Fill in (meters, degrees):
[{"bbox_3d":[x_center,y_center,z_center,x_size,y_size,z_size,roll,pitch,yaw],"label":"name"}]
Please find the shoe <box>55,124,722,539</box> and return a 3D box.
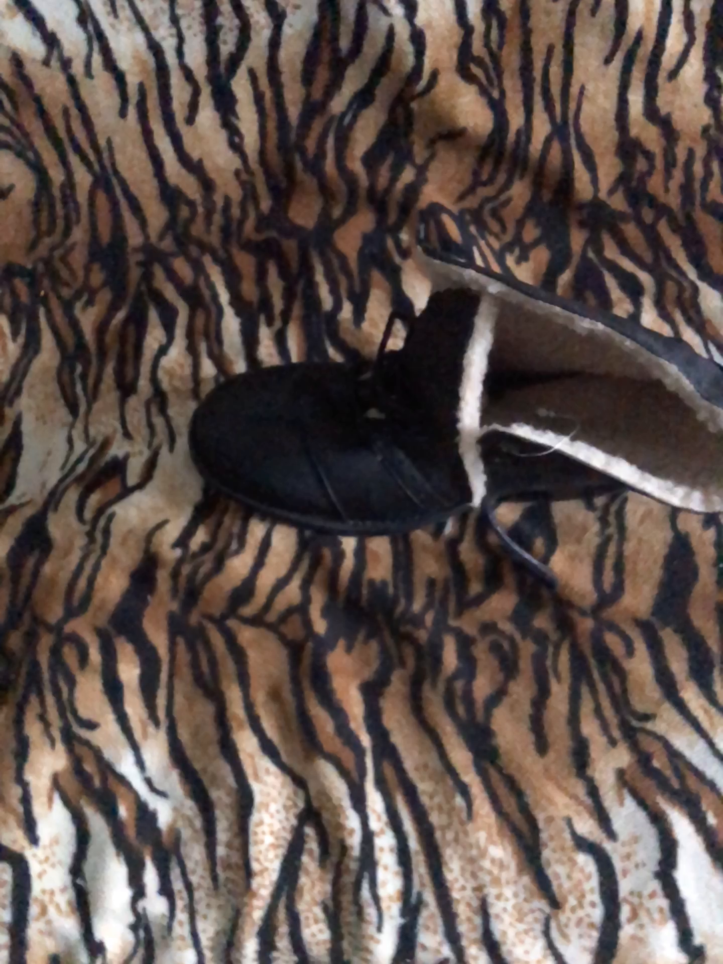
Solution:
[{"bbox_3d":[0.038,-0.063,0.463,0.330,0.200,0.140,-1,70,8],"label":"shoe"}]
